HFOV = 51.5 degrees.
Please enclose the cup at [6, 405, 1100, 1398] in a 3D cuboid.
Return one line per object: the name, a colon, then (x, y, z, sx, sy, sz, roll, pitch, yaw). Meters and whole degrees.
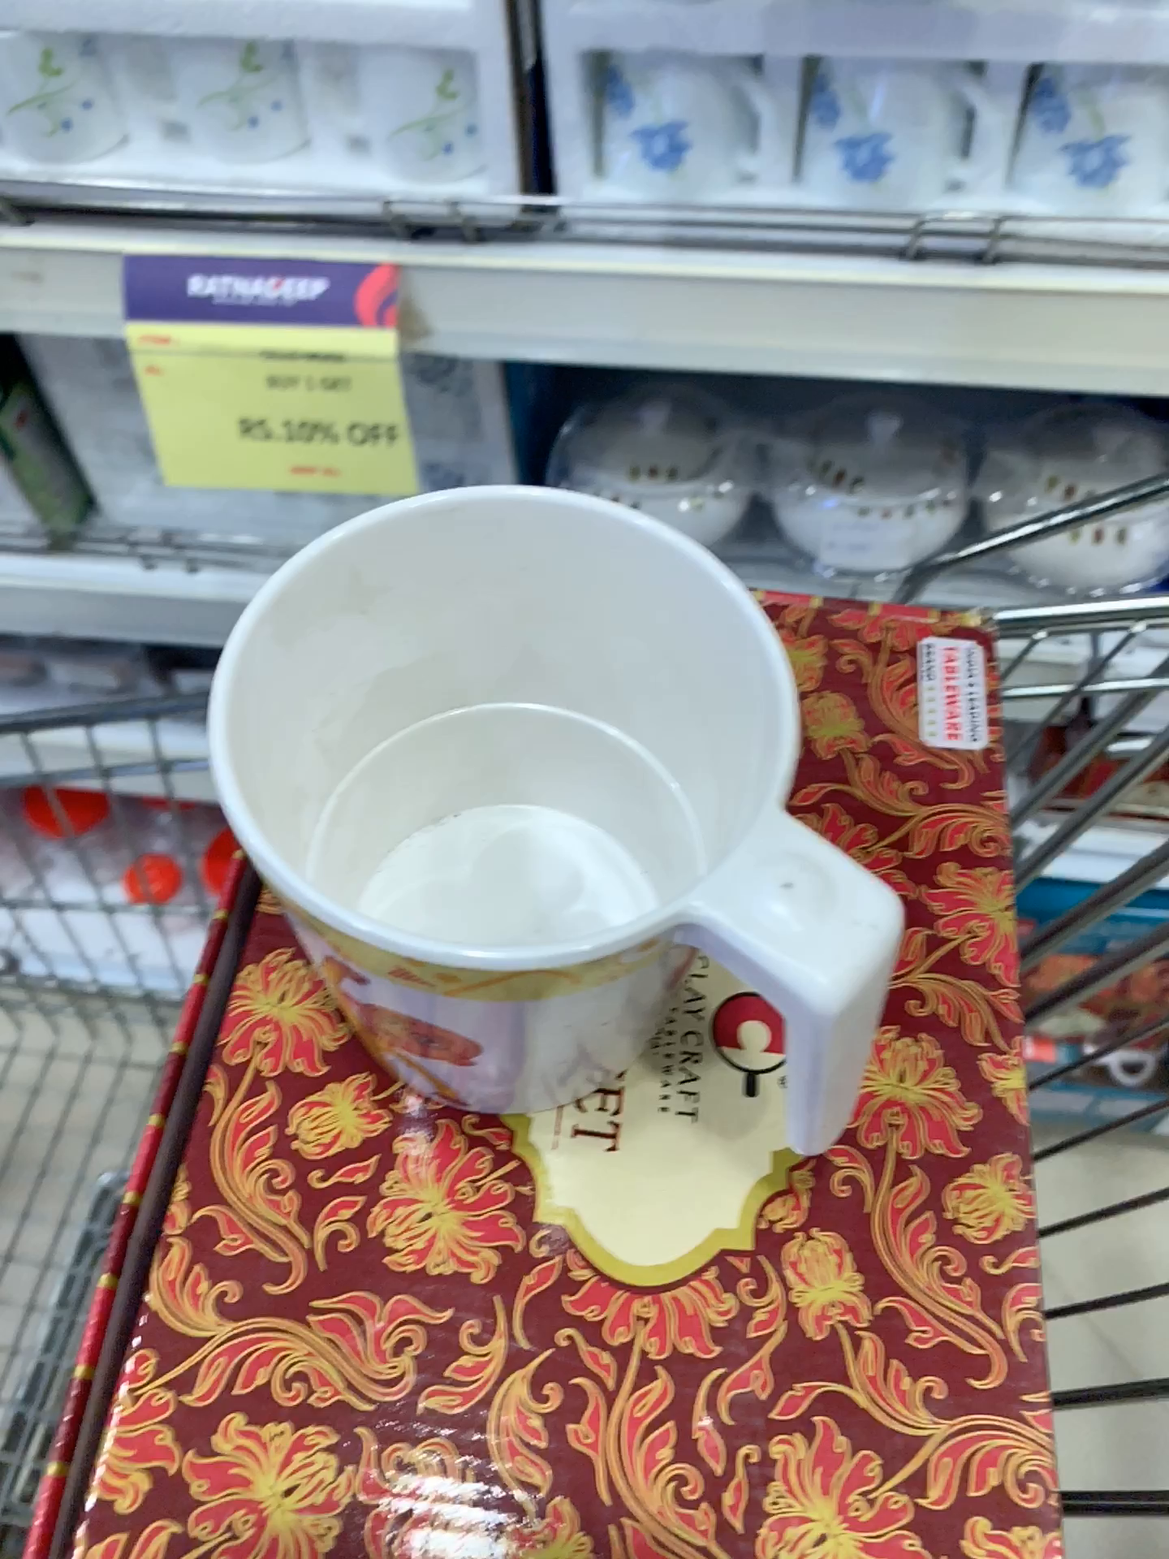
cup: (-0.004, 0.019, 0.185, 0.110, 0.080, 0.080, 31, 64, 18)
